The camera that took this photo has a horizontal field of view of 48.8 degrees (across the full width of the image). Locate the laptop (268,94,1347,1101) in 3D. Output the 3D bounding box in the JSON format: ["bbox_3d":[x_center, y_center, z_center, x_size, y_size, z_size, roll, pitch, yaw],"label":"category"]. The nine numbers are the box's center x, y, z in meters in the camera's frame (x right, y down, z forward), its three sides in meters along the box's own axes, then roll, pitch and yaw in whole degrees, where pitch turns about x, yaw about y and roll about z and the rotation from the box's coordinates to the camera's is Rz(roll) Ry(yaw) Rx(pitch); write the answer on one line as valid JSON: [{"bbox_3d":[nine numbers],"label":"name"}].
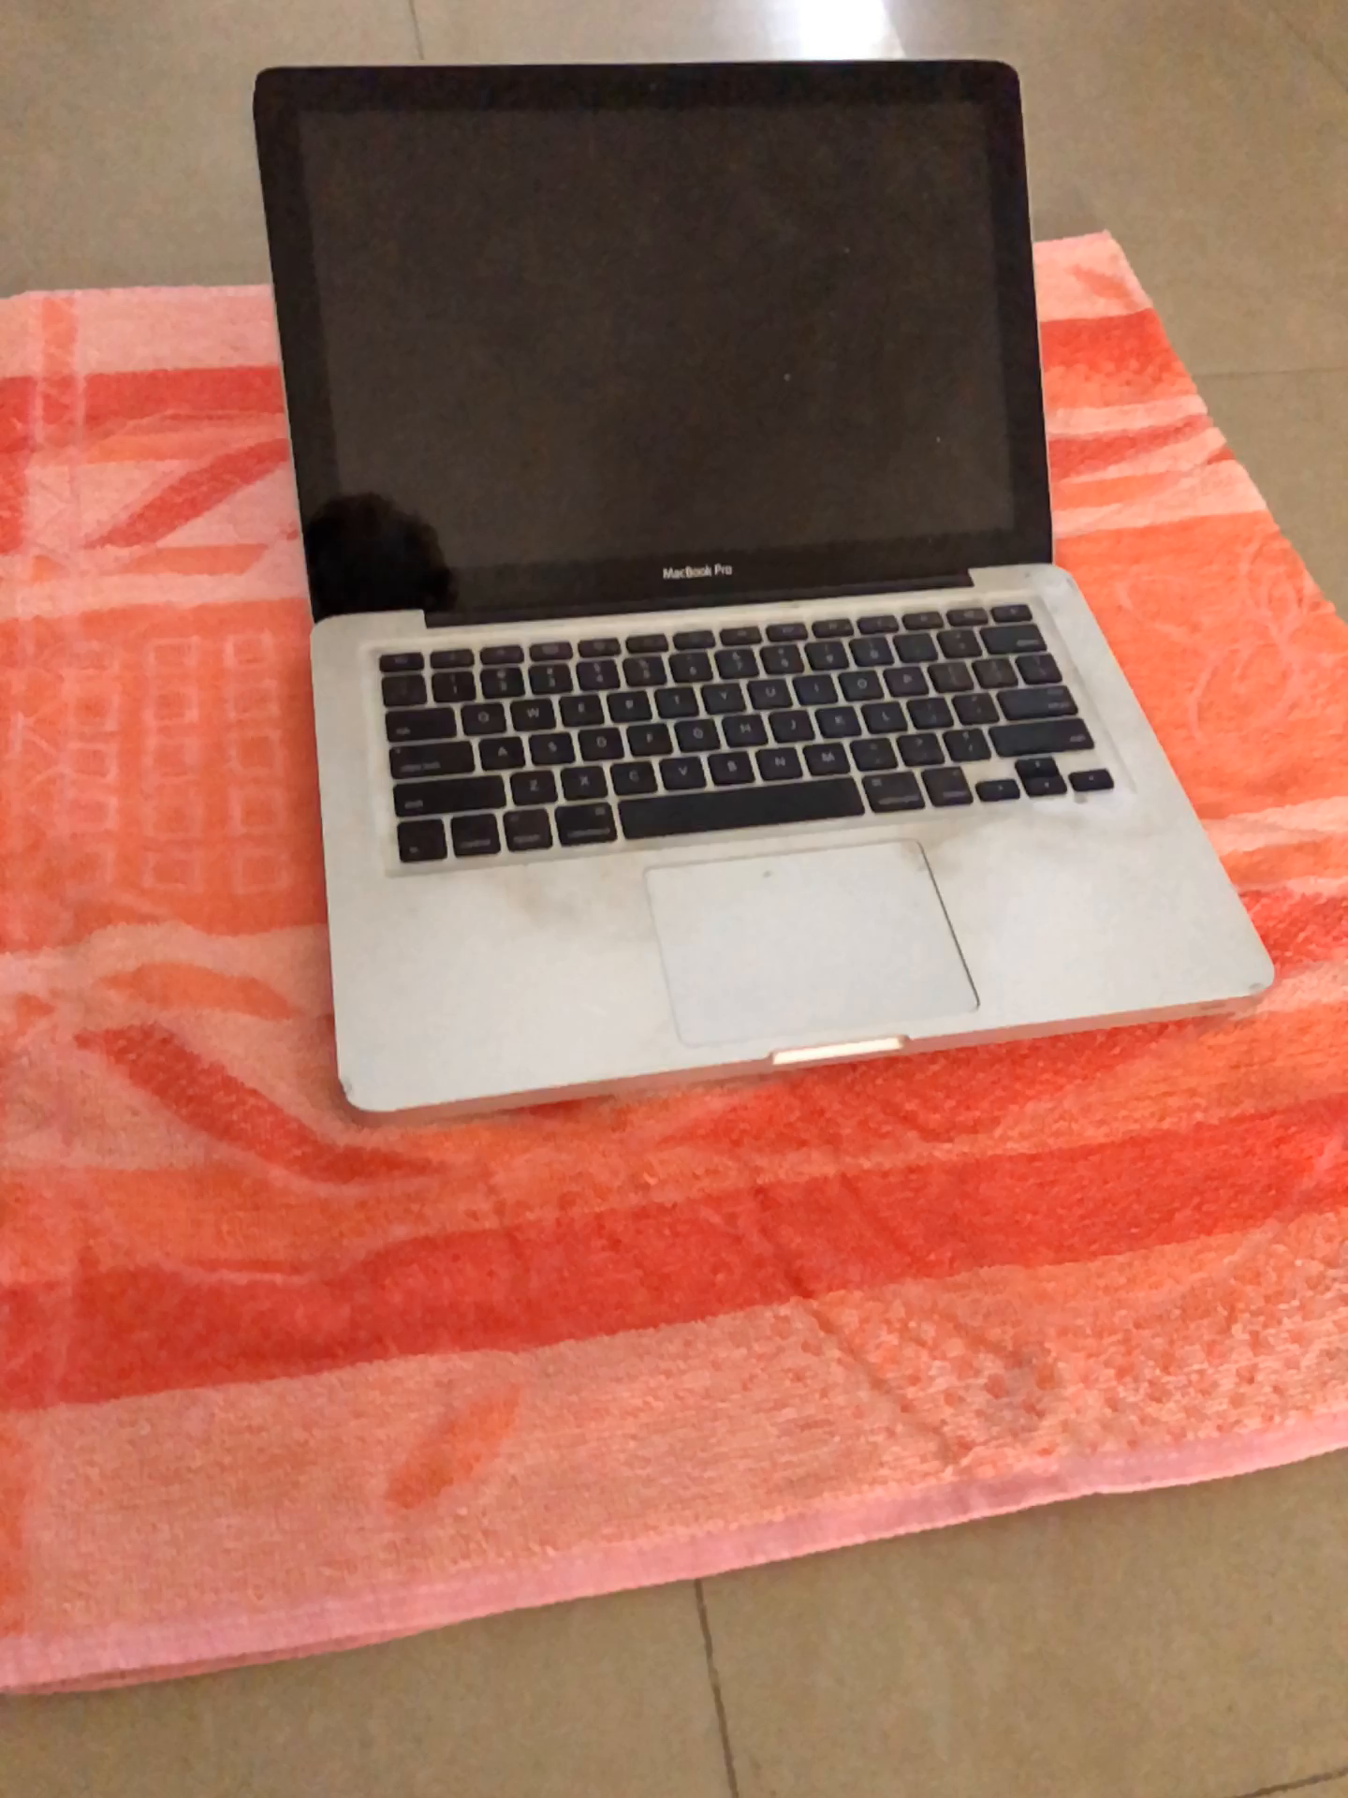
[{"bbox_3d":[0.024,-0.140,0.546,0.309,0.133,0.374,-6,53,-10],"label":"laptop"}]
